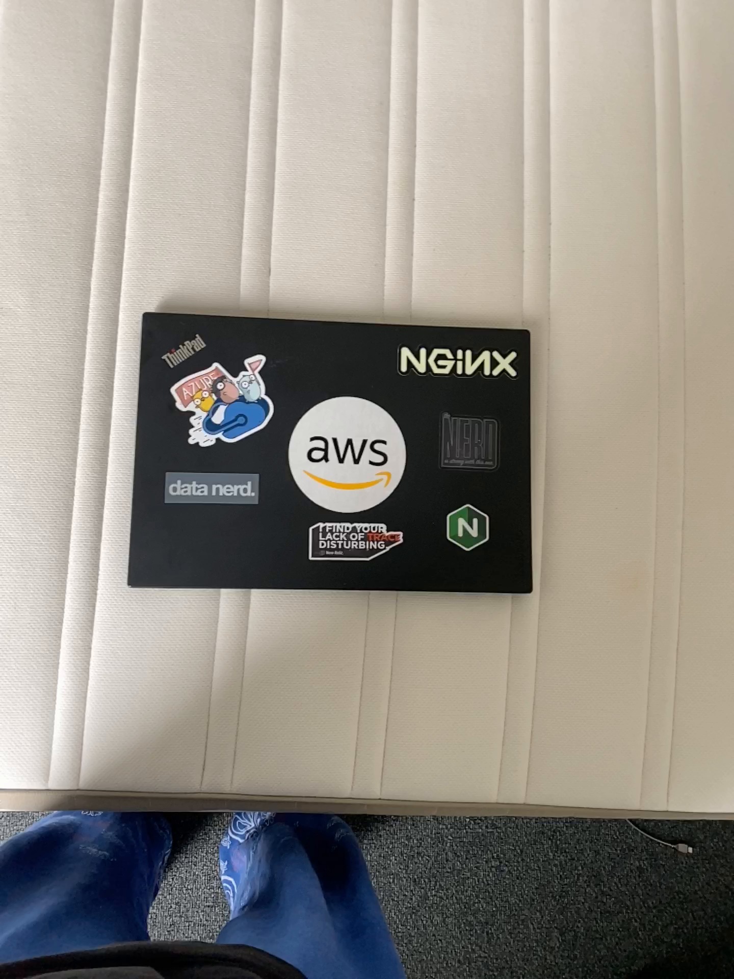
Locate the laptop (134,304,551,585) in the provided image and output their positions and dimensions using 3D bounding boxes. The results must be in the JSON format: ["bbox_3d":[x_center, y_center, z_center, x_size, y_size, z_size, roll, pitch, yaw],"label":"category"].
[{"bbox_3d":[-0.012,-0.037,0.606,0.322,0.014,0.224,2,80,-3],"label":"laptop"}]
